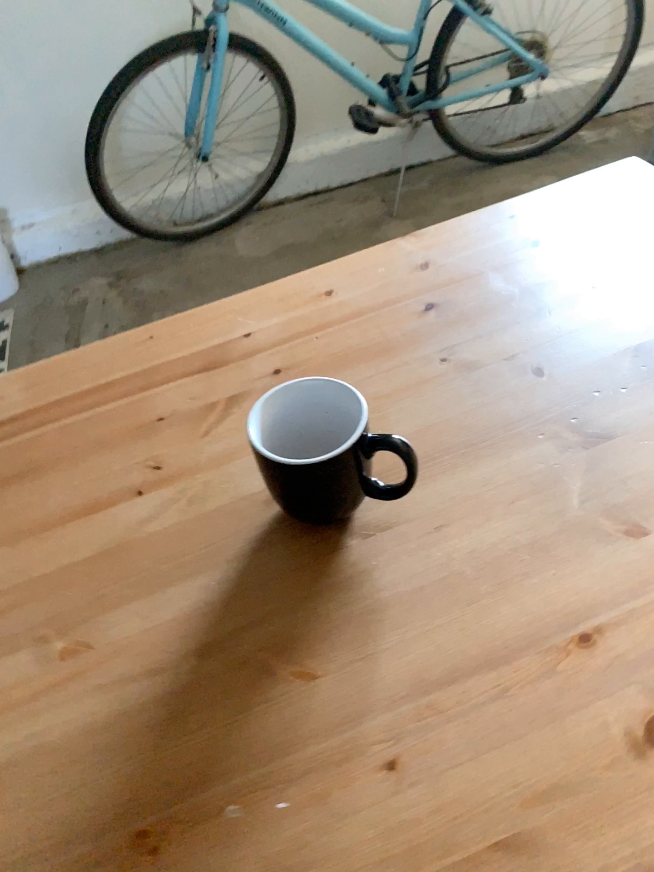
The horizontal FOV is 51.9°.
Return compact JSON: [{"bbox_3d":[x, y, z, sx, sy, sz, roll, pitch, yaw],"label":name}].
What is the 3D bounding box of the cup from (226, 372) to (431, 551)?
[{"bbox_3d":[0.009,0.020,0.567,0.140,0.100,0.100,4,50,16],"label":"cup"}]
